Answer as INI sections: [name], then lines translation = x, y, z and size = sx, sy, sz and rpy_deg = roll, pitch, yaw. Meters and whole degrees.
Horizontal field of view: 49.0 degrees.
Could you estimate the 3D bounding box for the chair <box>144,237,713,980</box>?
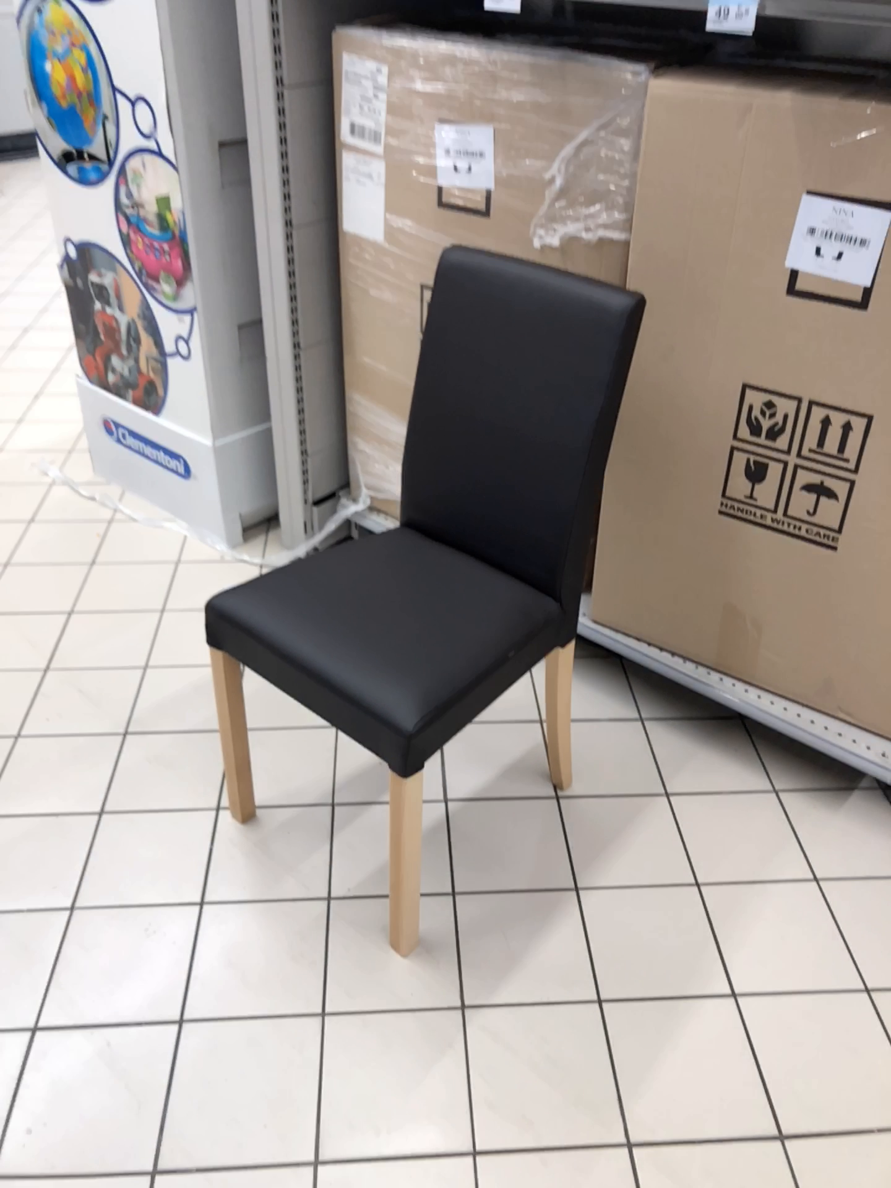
[chair]
translation = -0.011, -0.004, 1.487
size = 0.450, 0.855, 0.593
rpy_deg = 26, 41, 31
